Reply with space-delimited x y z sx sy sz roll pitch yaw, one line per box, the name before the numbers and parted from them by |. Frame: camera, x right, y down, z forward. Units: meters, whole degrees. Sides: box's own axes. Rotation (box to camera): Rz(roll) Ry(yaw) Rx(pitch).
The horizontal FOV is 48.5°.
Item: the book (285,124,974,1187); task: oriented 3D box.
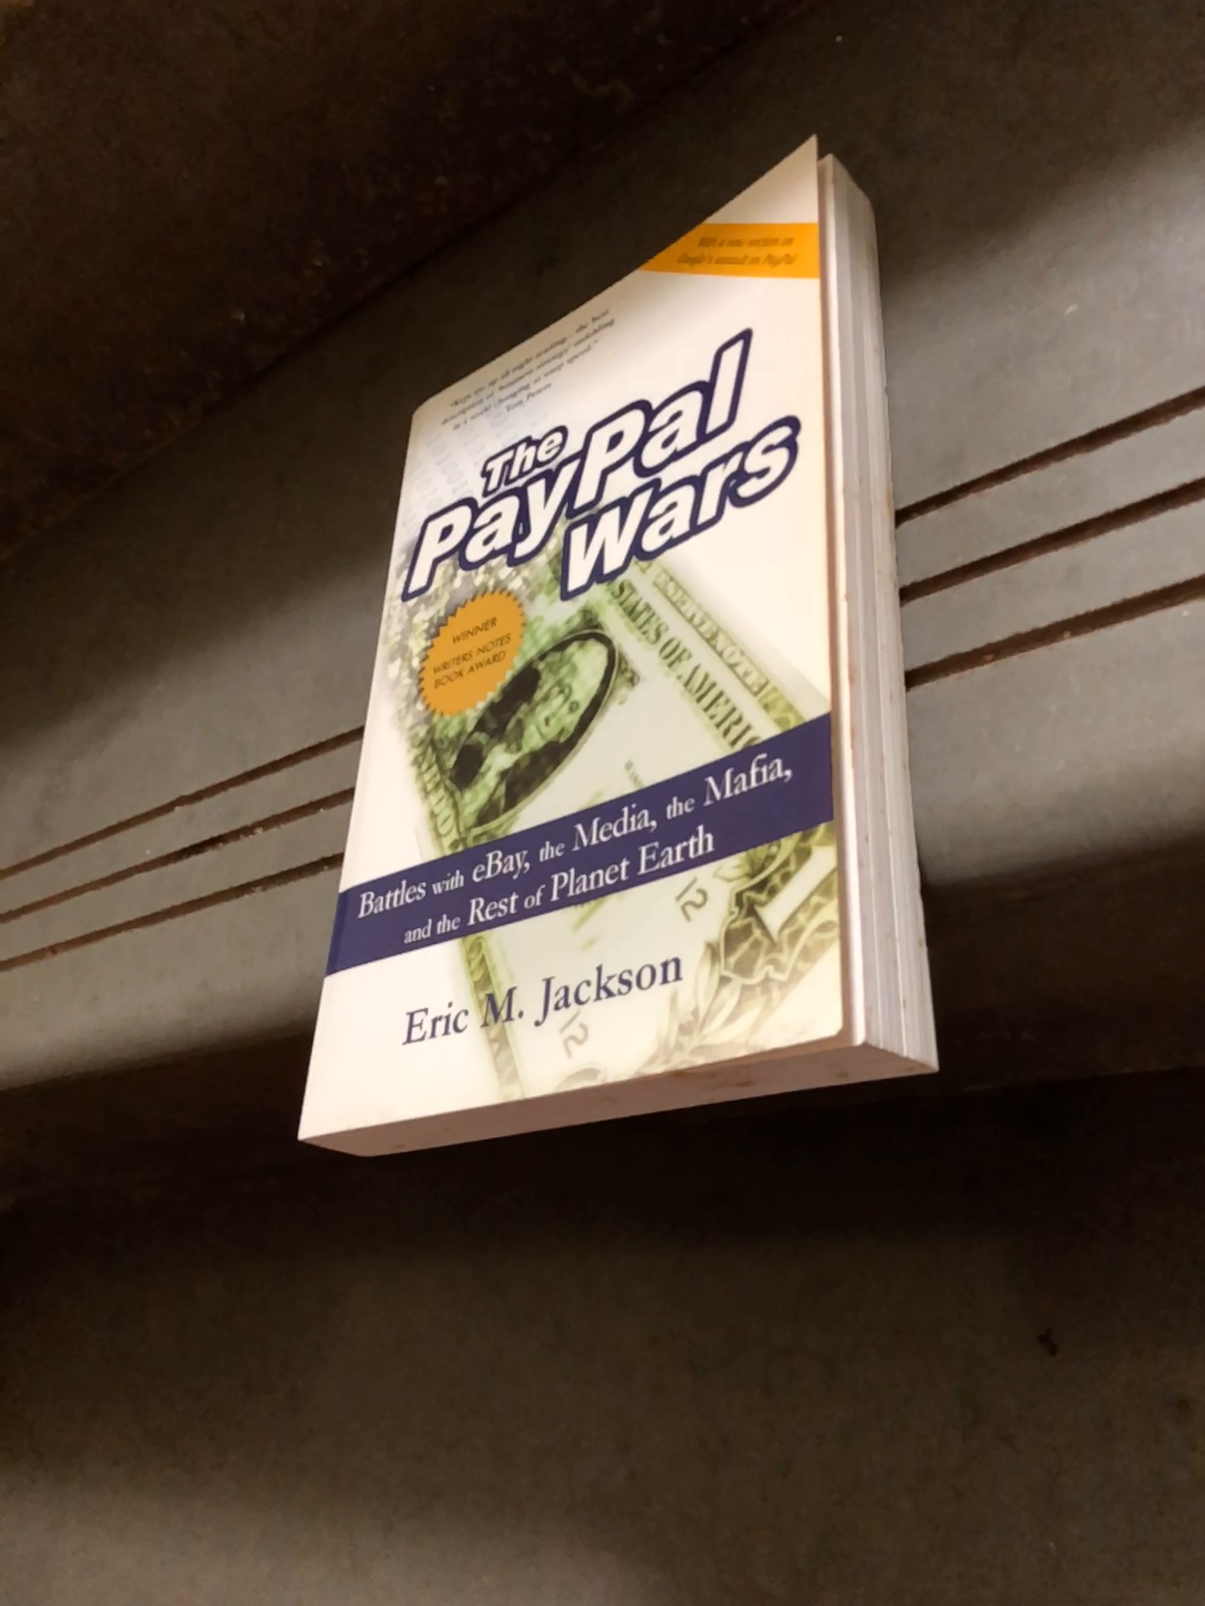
book | 0.001 -0.032 0.312 0.151 0.030 0.220 -19 55 37
